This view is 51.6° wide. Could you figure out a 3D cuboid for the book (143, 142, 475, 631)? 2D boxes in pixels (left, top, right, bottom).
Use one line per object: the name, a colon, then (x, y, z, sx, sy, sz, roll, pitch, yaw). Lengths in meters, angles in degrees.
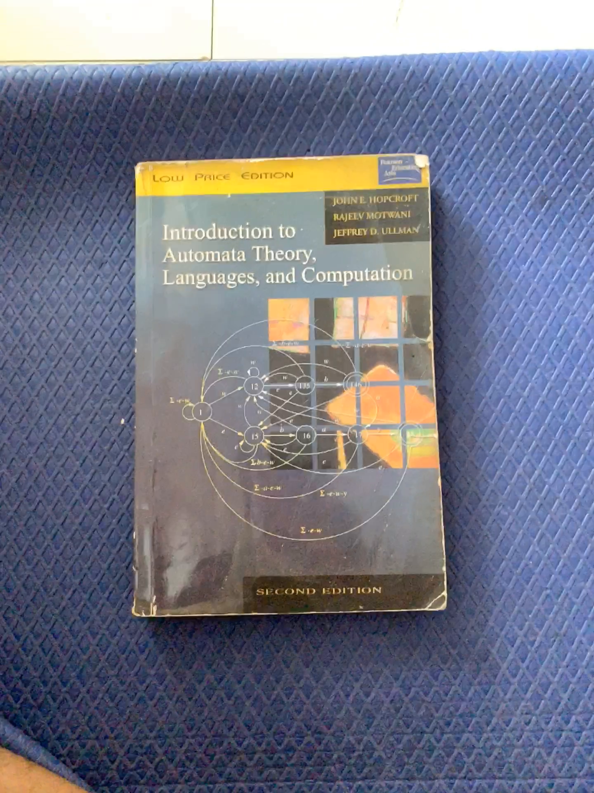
book: (0.002, -0.007, 0.319, 0.150, 0.050, 0.230, -2, 83, 1)
